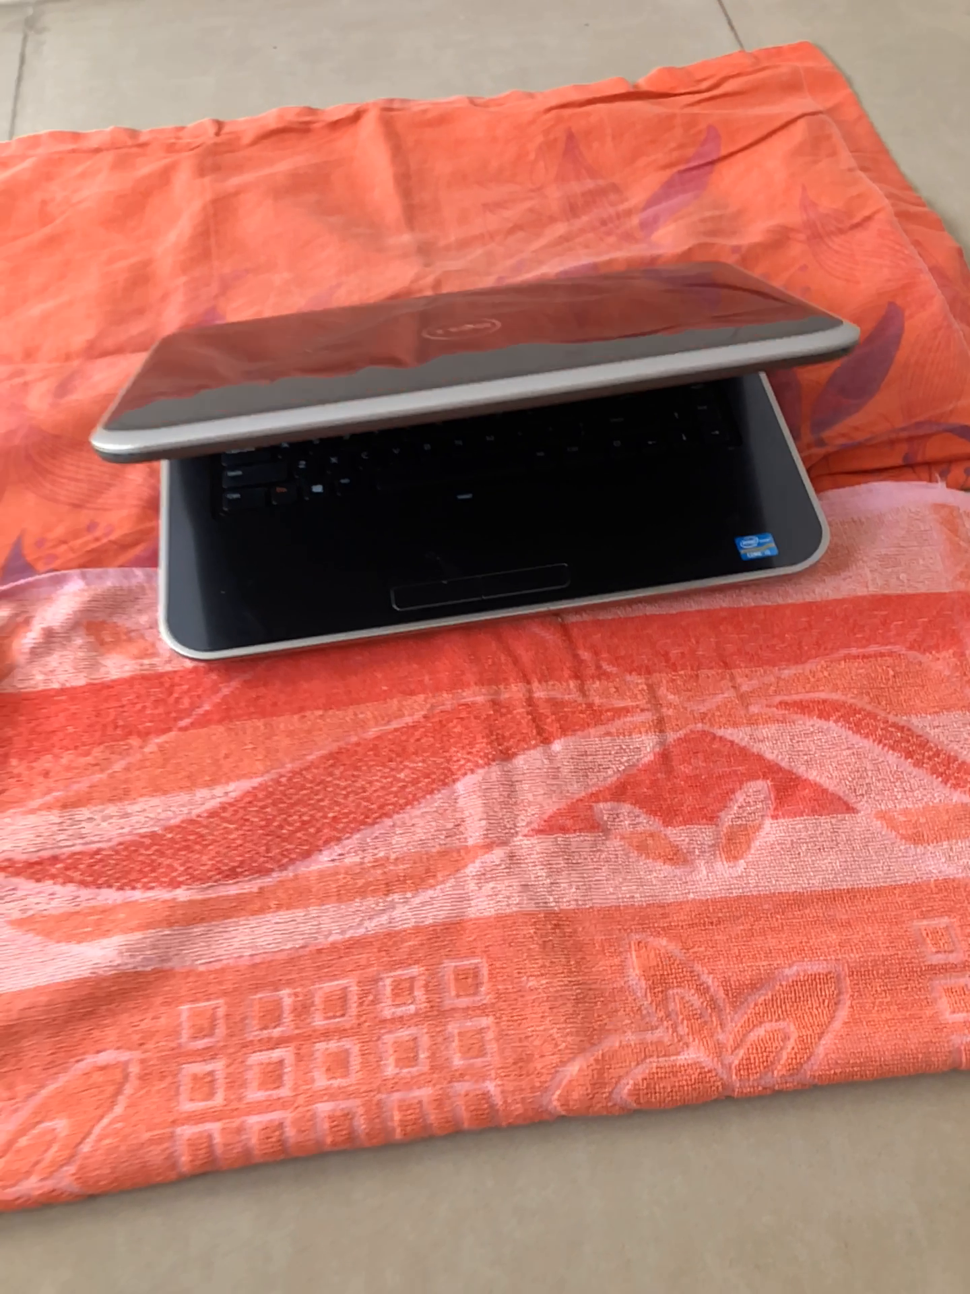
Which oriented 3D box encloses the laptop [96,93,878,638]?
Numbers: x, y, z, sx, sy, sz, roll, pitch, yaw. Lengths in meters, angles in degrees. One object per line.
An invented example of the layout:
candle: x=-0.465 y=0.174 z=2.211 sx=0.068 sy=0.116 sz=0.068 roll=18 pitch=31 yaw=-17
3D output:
laptop: x=-0.012 y=-0.161 z=0.590 sx=0.345 sy=0.129 sz=0.242 roll=-8 pitch=57 yaw=-4
